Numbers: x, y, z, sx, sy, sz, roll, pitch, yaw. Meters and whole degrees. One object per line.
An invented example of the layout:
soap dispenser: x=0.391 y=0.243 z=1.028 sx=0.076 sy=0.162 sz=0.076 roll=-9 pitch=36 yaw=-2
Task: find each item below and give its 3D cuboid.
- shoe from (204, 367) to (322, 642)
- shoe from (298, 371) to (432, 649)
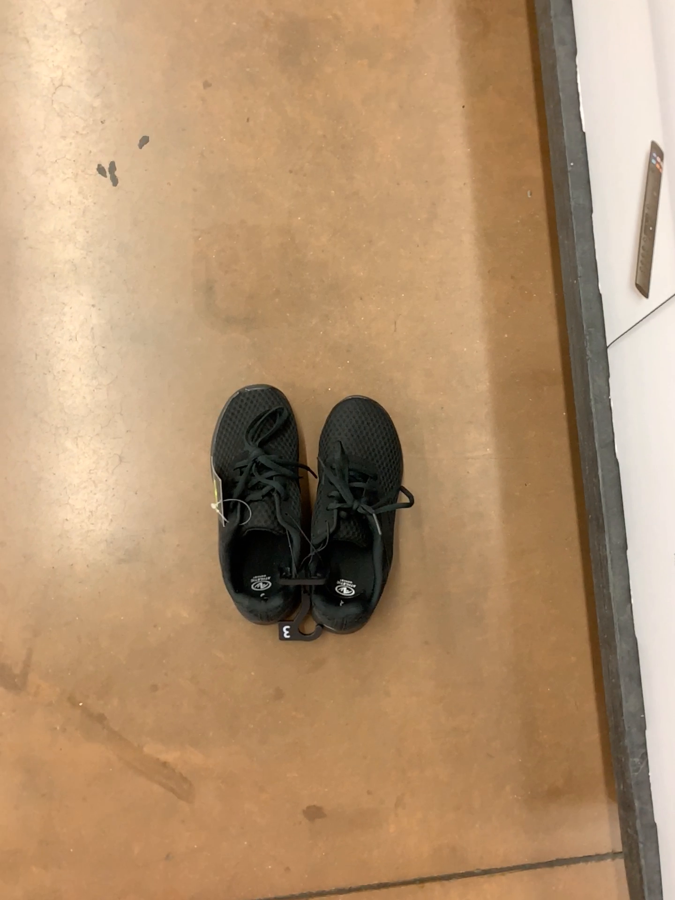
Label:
shoe: x=-0.068 y=0.047 z=0.627 sx=0.090 sy=0.080 sz=0.230 roll=-3 pitch=85 yaw=-6
shoe: x=0.023 y=0.054 z=0.630 sx=0.090 sy=0.080 sz=0.230 roll=7 pitch=84 yaw=-5
